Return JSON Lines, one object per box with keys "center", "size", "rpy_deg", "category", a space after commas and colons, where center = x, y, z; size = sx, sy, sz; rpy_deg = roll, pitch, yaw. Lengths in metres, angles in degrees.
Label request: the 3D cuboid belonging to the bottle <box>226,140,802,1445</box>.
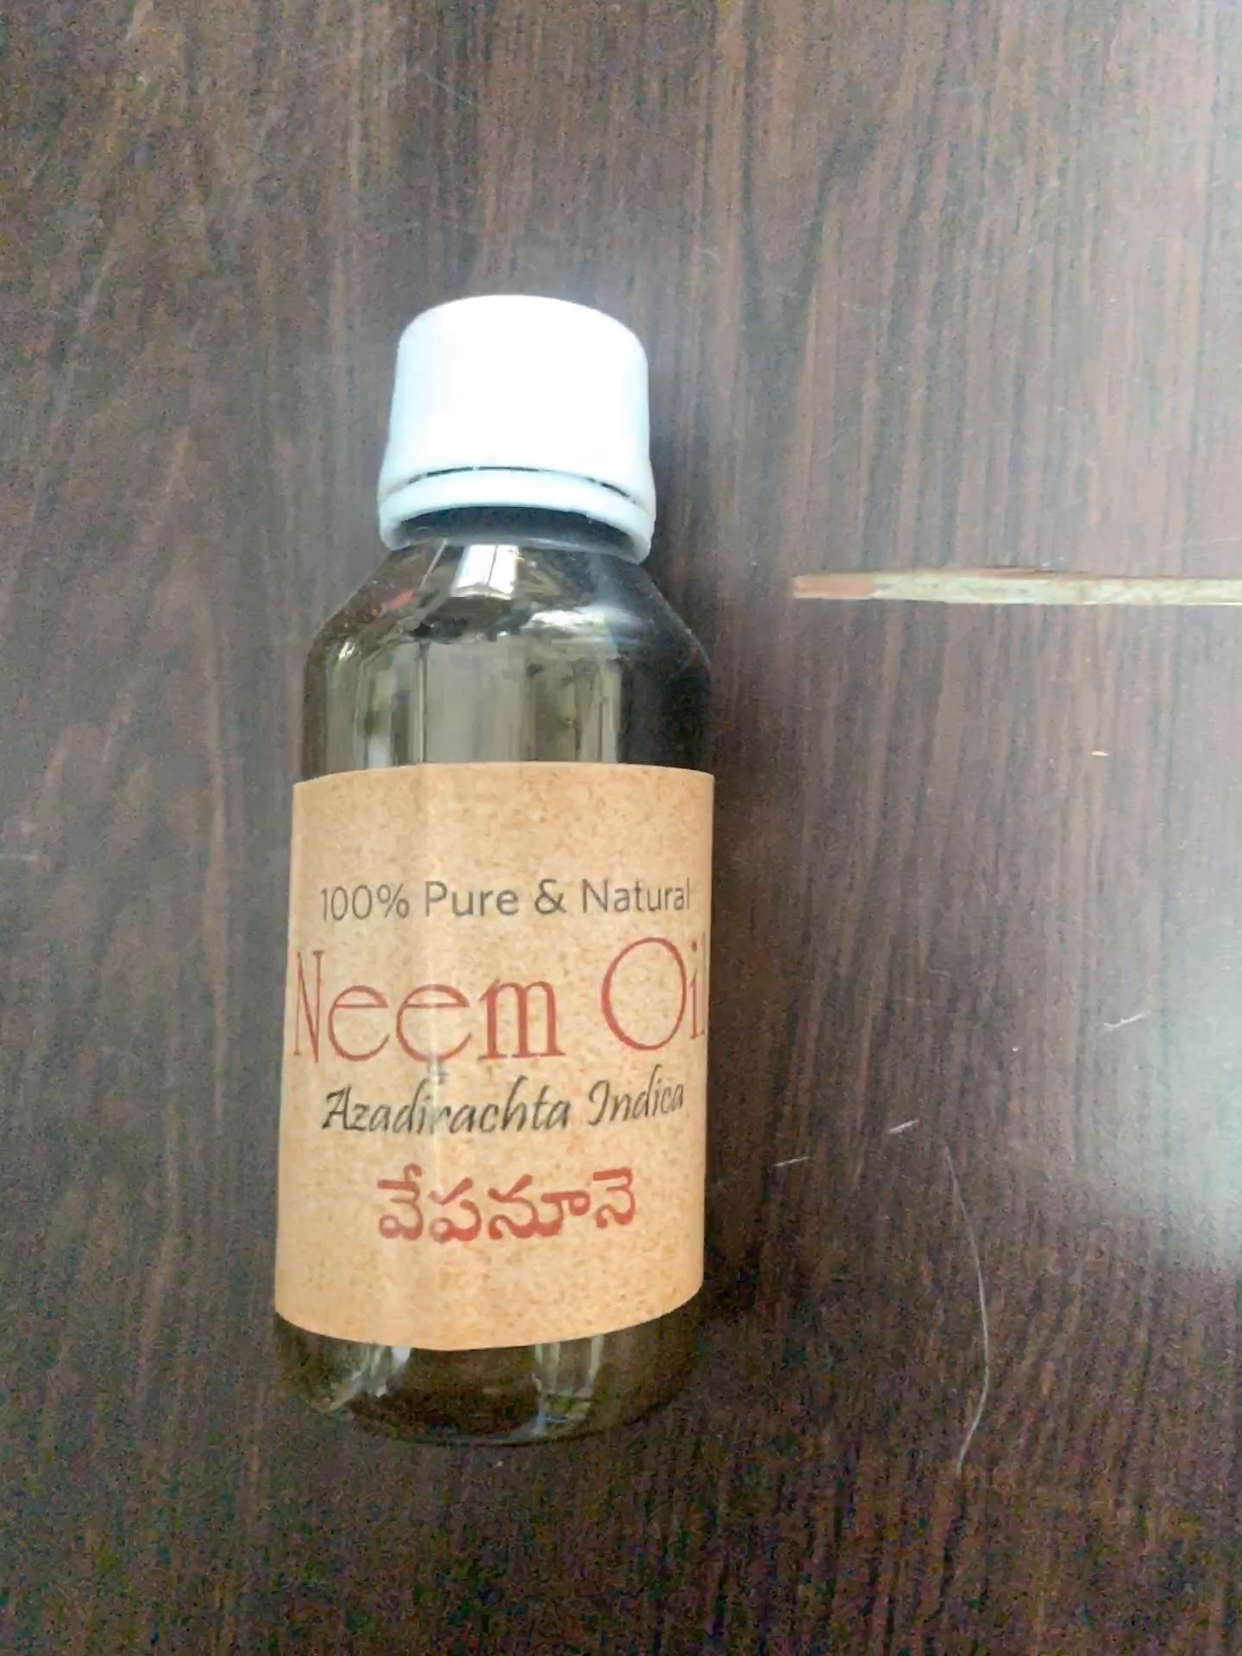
{"center": [-0.010, -0.004, 0.140], "size": [0.050, 0.040, 0.120], "rpy_deg": [1, 84, -2], "category": "bottle"}
